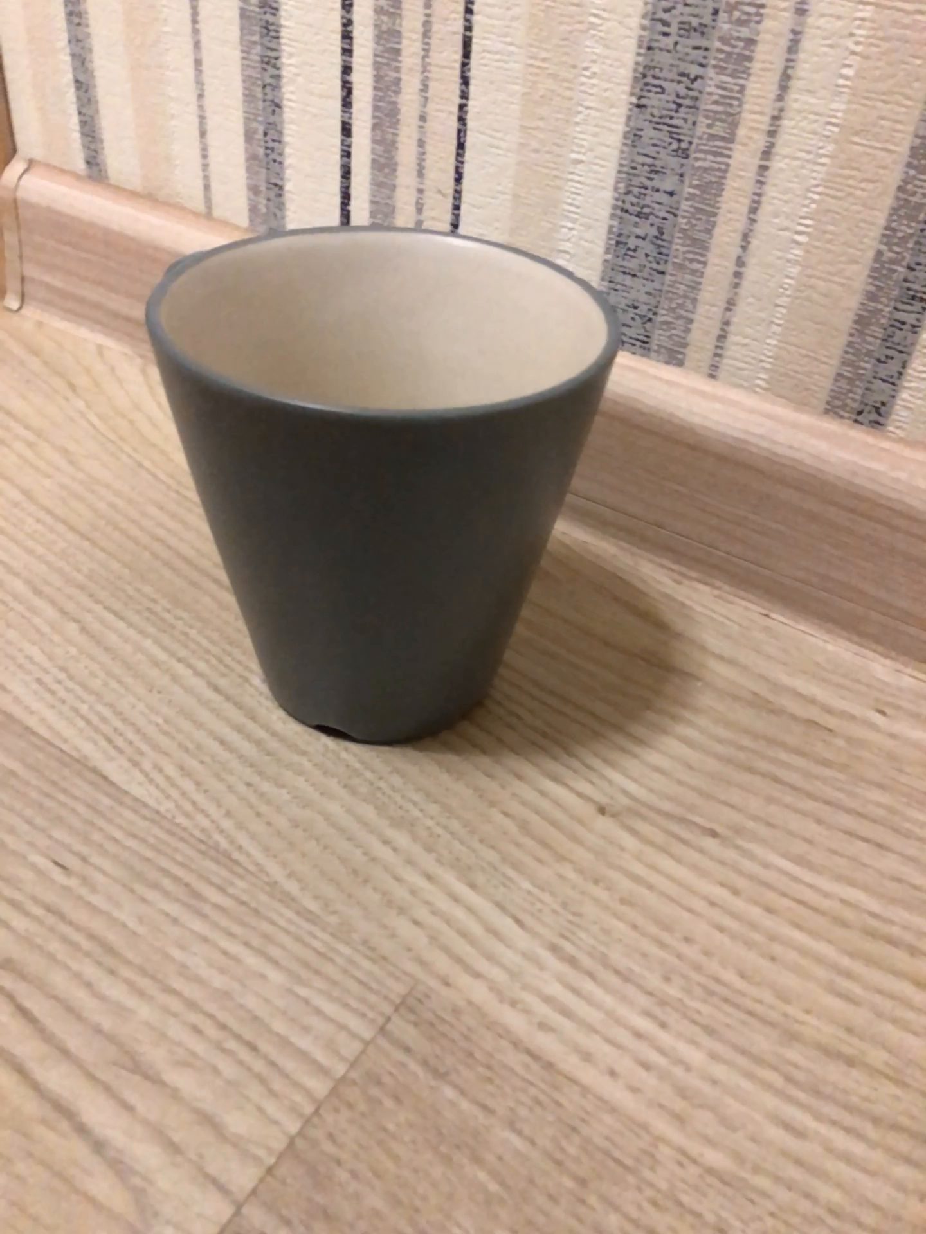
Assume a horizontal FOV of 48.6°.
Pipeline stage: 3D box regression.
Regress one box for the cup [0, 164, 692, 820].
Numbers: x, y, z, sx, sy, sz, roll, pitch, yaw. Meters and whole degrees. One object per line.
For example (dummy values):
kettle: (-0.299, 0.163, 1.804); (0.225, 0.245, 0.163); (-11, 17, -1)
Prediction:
cup: (-0.033, -0.041, 0.248); (0.096, 0.089, 0.125); (-28, 49, -36)
